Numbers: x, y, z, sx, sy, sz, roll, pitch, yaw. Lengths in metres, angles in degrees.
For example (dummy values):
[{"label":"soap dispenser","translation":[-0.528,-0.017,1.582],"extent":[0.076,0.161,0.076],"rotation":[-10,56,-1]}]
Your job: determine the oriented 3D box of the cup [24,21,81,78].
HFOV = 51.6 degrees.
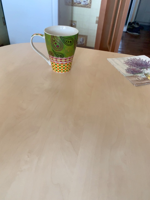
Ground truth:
[{"label":"cup","translation":[-0.055,-0.146,0.441],"extent":[0.130,0.109,0.111],"rotation":[6,40,1]}]
